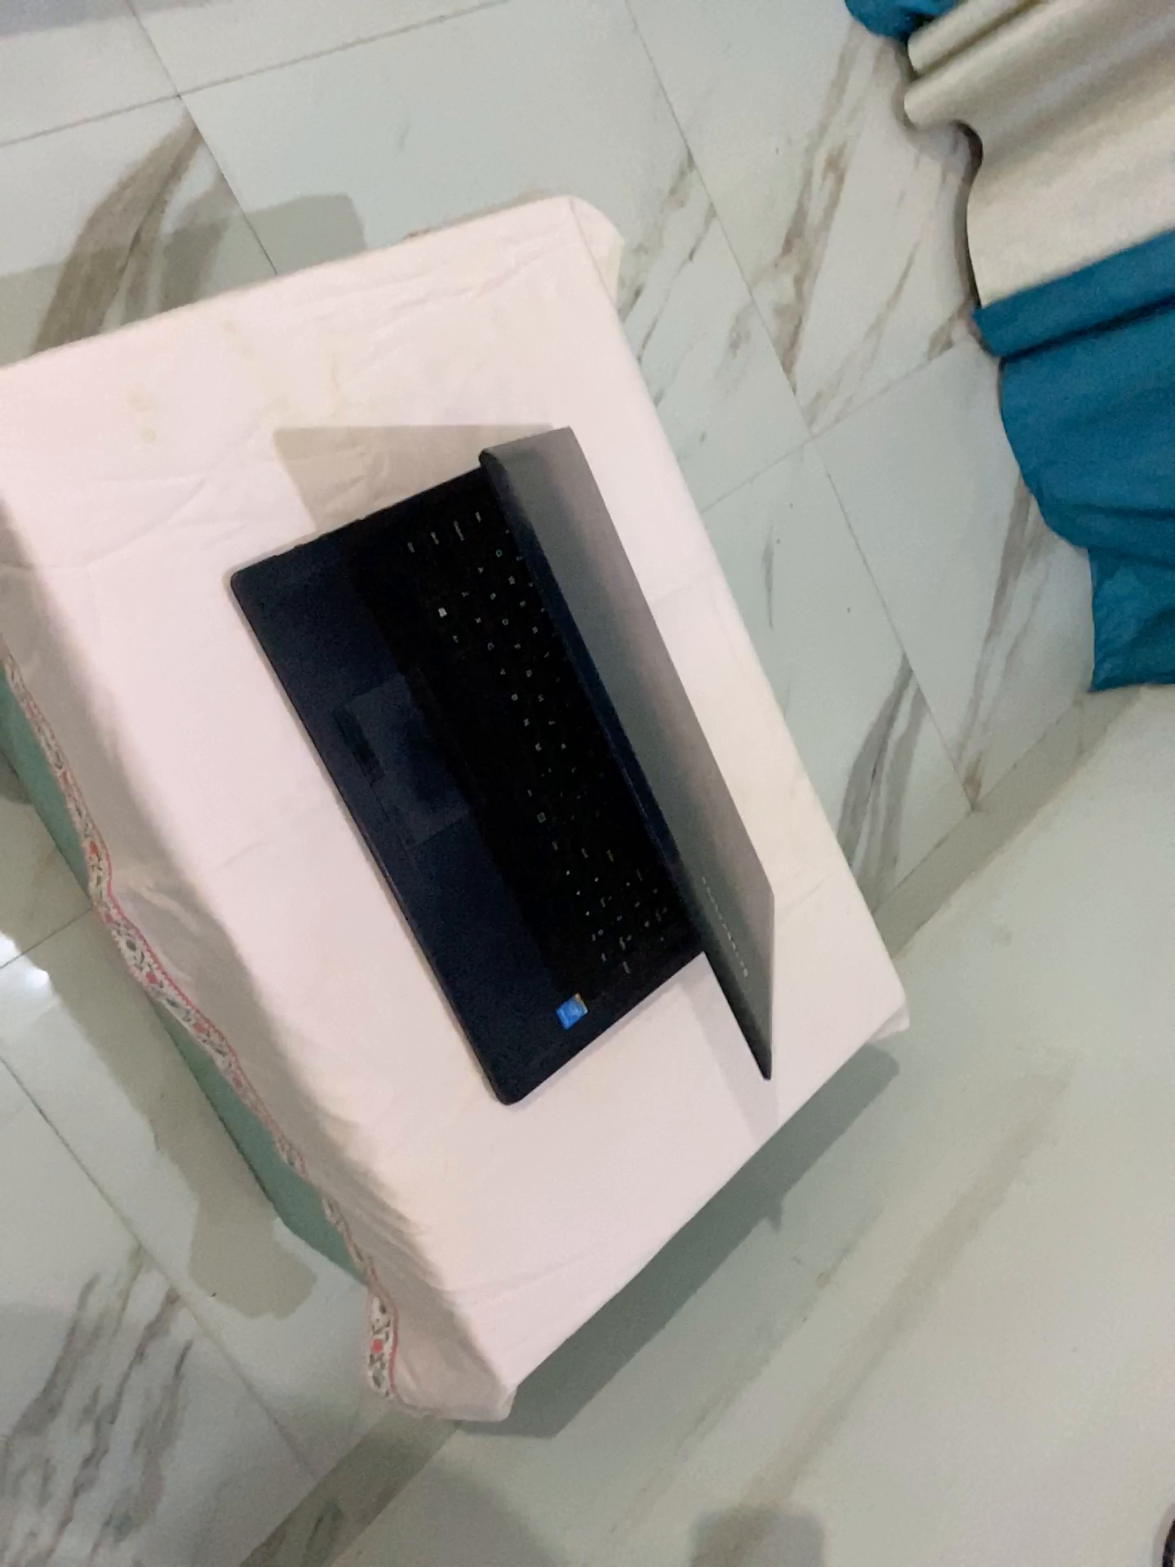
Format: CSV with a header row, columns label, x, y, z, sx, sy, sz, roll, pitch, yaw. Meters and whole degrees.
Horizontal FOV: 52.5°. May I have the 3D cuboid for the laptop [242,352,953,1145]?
label,x,y,z,sx,sy,sz,roll,pitch,yaw
laptop,0.017,-0.023,0.741,0.259,0.176,0.369,-34,107,-30
